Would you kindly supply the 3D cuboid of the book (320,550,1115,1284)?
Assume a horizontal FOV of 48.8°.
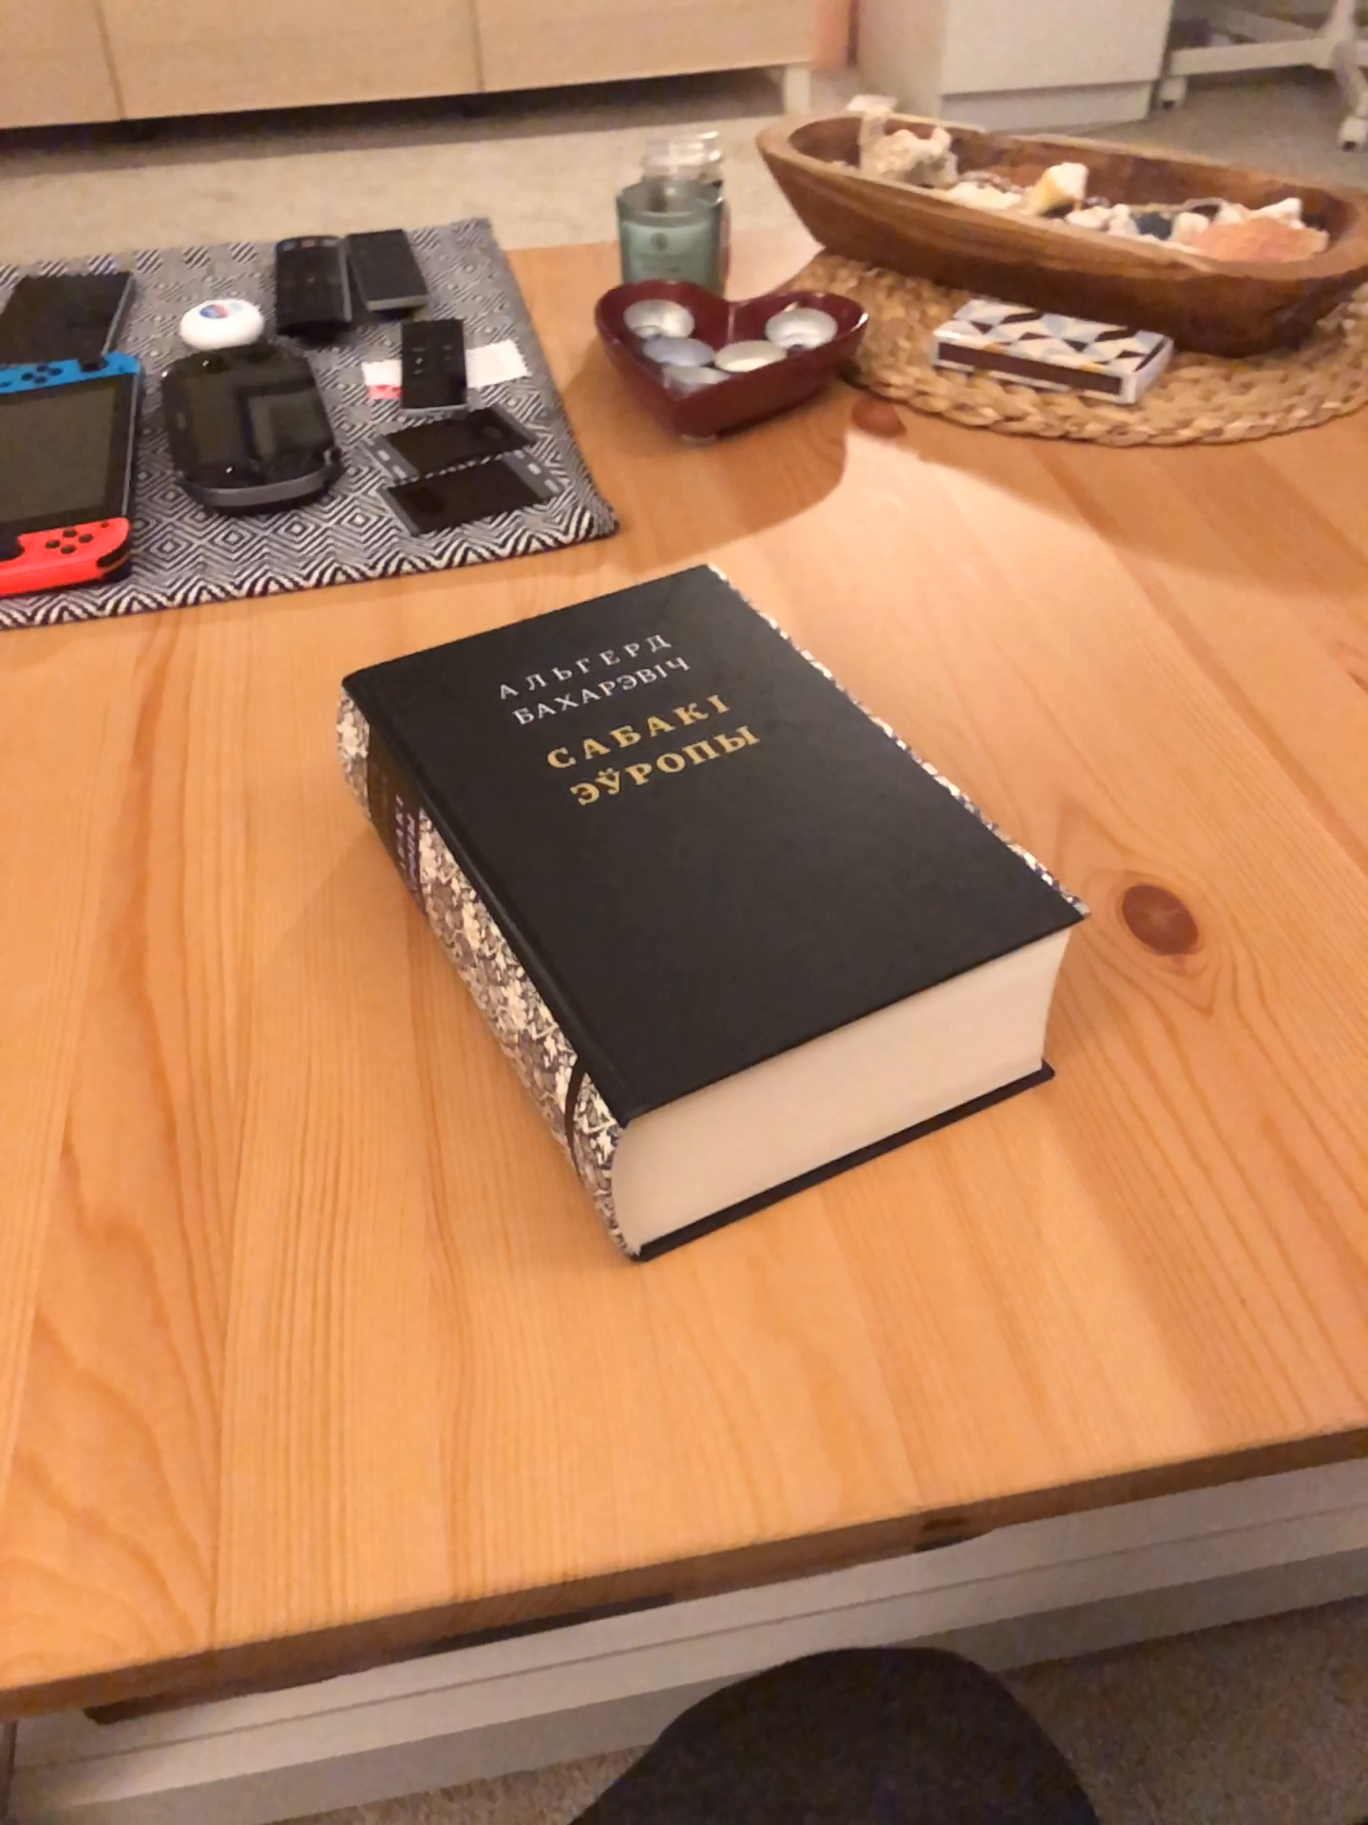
[{"bbox_3d":[-0.001,-0.017,0.492,0.157,0.061,0.230,-22,48,-18],"label":"book"}]
